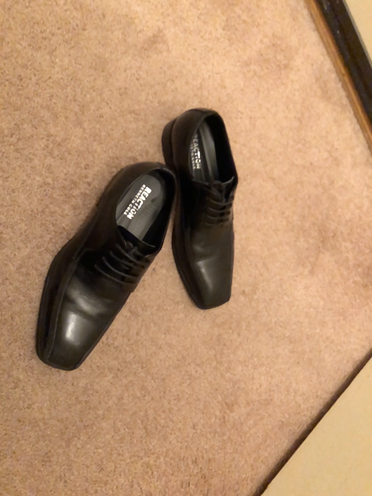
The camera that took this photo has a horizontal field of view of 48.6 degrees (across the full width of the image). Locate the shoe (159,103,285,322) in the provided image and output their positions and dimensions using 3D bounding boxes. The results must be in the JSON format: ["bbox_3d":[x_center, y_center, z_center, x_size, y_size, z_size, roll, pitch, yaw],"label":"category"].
[{"bbox_3d":[0.053,-0.053,0.629,0.115,0.110,0.297,-9,94,-28],"label":"shoe"}]

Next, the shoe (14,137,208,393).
[{"bbox_3d":[-0.096,0.018,0.534,0.110,0.108,0.283,30,76,-25],"label":"shoe"}]
